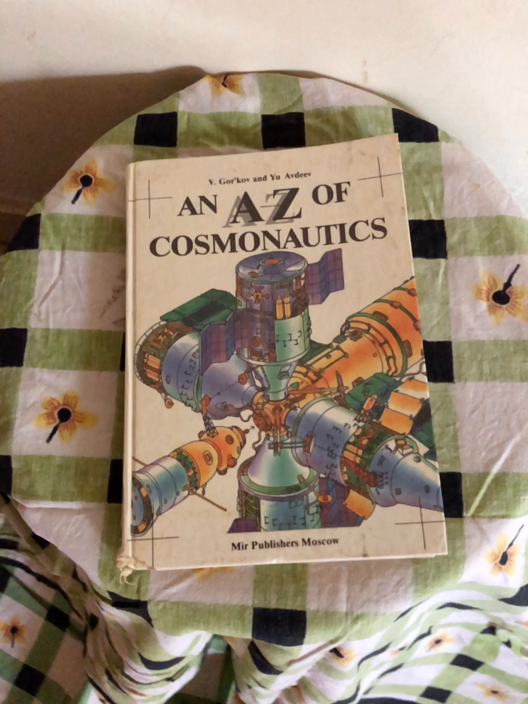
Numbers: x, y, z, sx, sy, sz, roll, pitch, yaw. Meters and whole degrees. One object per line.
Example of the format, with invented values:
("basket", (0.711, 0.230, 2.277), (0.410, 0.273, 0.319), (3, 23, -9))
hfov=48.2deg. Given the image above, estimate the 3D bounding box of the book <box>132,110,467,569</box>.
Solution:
("book", (0.013, -0.012, 0.378), (0.180, 0.060, 0.270), (-3, 76, 1))
